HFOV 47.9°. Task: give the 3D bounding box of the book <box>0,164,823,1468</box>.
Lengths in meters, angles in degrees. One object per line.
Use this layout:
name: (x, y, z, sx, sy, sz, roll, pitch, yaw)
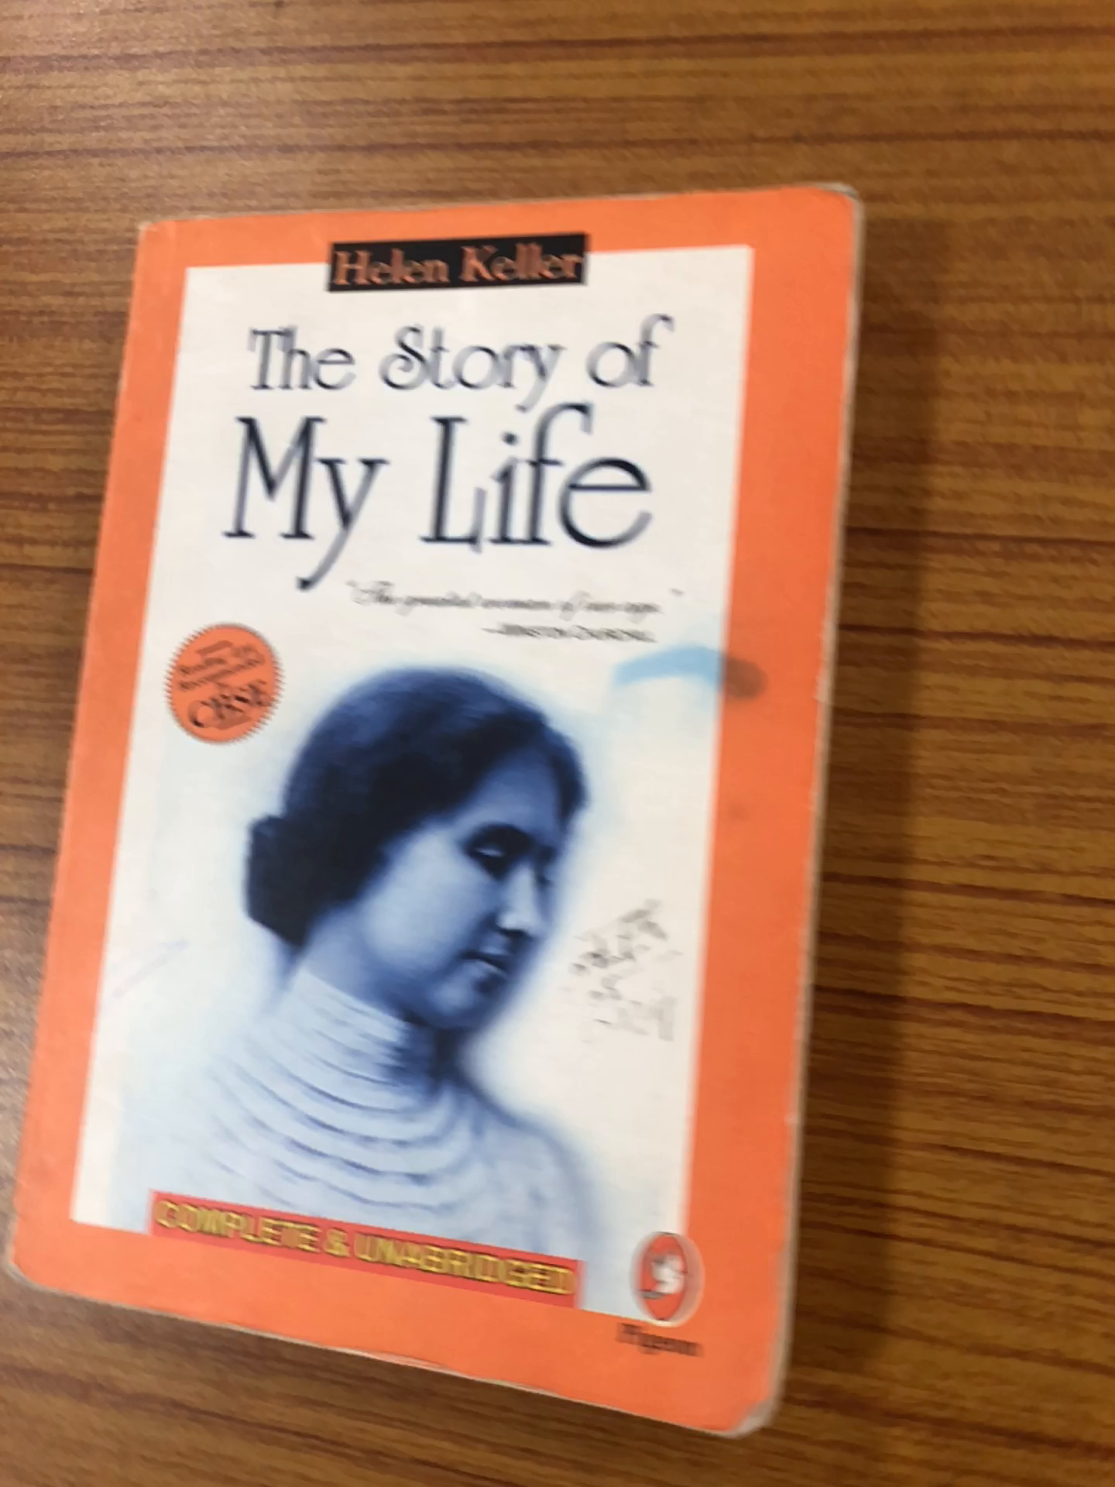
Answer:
book: (-0.027, 0.003, 0.192, 0.120, 0.030, 0.170, 4, 84, 14)
